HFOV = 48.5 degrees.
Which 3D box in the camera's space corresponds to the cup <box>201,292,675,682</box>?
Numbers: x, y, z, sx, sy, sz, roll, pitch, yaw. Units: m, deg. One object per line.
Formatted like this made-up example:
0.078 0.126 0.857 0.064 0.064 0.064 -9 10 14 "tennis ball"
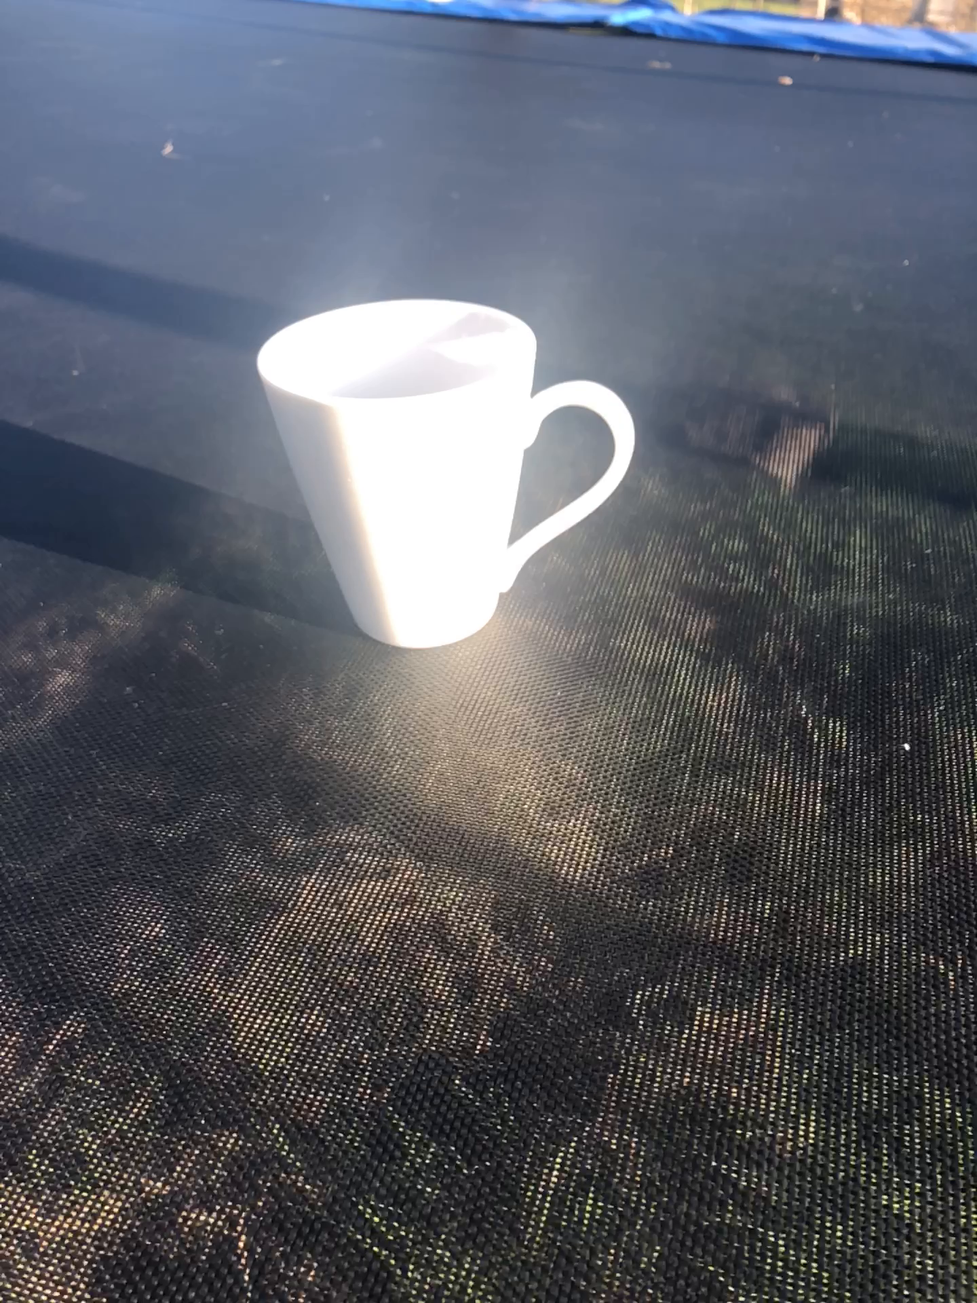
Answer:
-0.008 -0.062 0.372 0.129 0.094 0.098 5 35 15 "cup"
